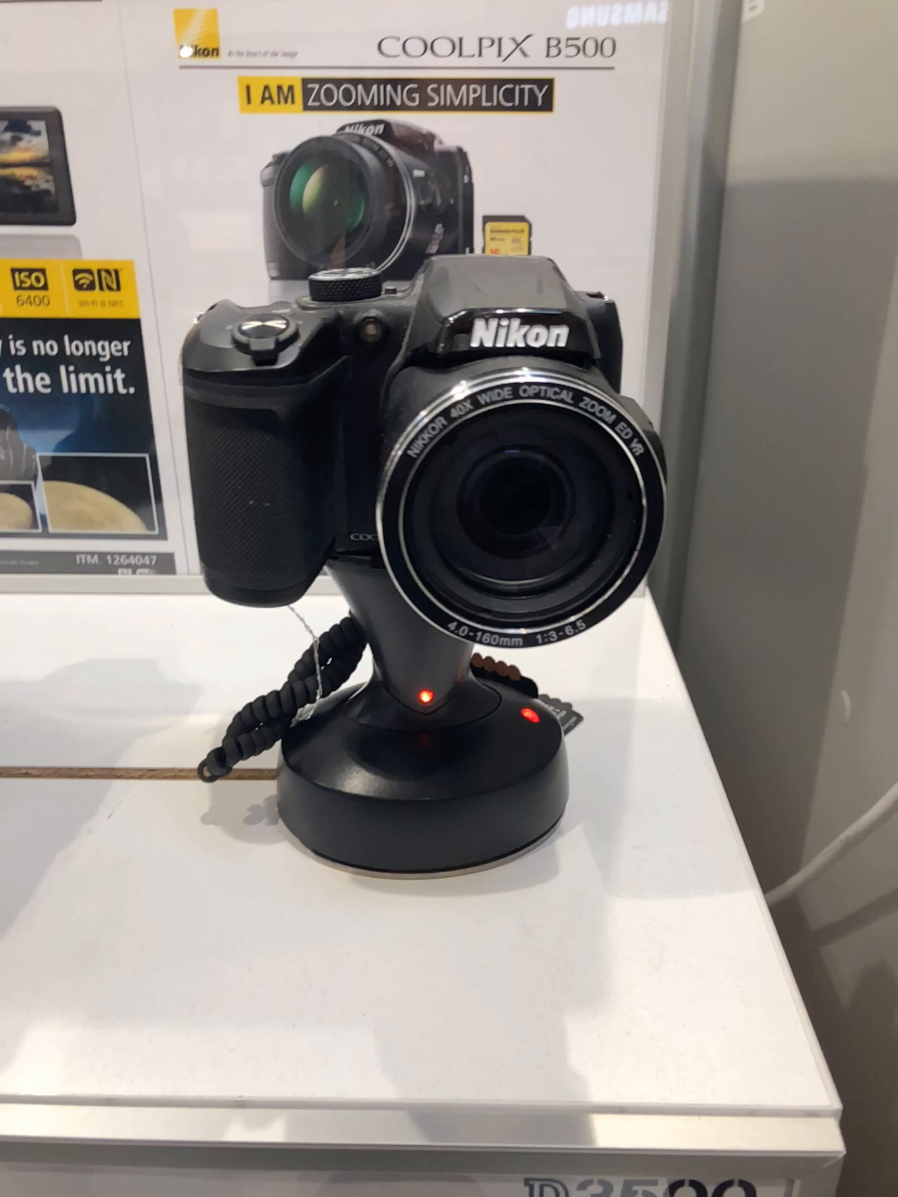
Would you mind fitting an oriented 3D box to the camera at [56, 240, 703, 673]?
[{"bbox_3d":[-0.014,-0.040,0.242,0.120,0.080,0.091,-1,24,-2],"label":"camera"}]
